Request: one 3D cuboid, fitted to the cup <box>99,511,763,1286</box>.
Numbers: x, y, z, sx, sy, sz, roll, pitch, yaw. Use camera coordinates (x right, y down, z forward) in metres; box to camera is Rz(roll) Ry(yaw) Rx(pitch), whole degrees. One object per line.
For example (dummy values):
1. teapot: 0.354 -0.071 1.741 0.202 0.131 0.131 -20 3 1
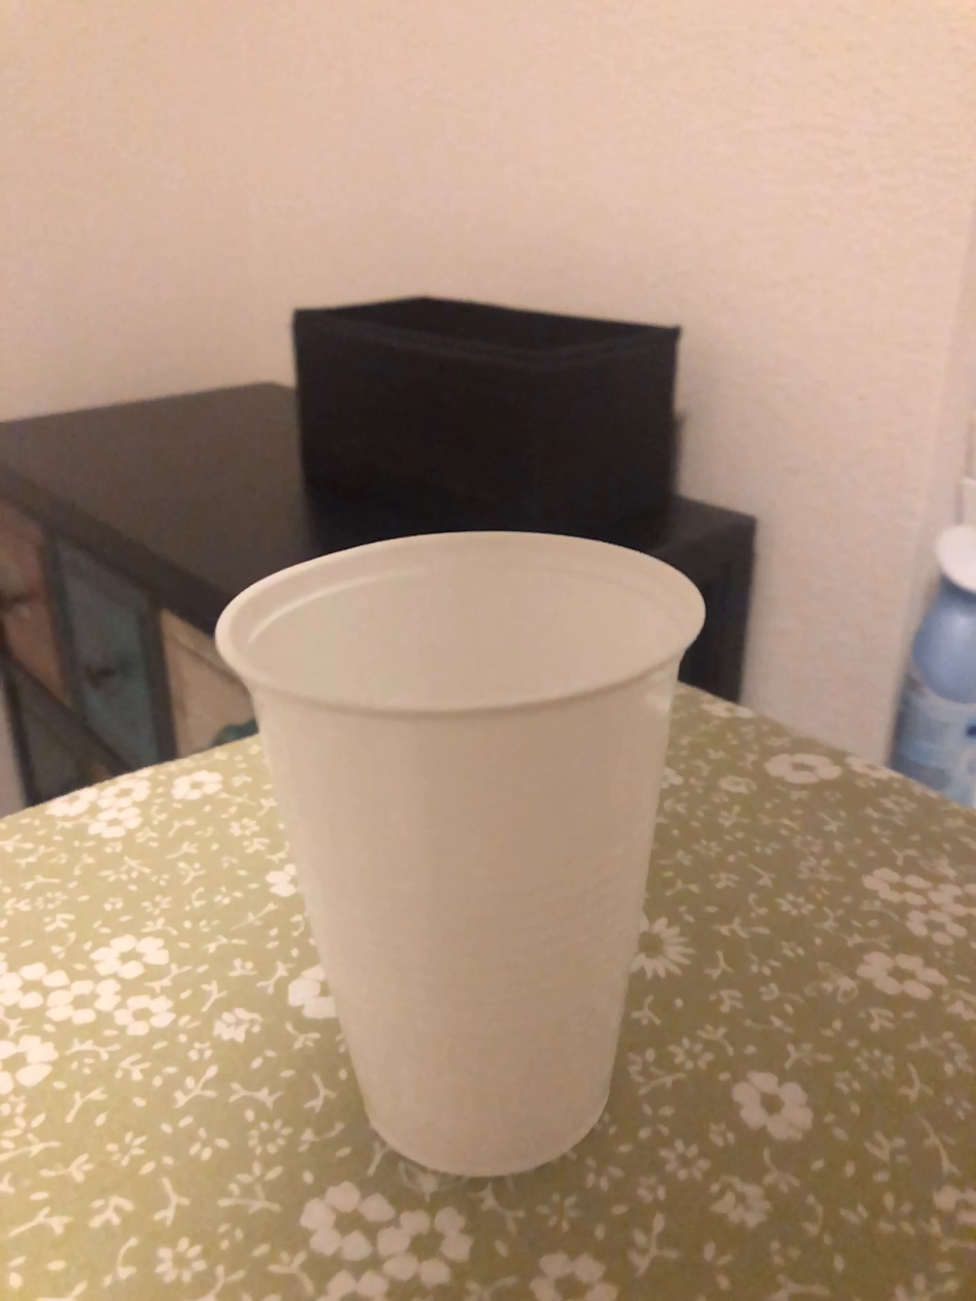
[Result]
1. cup: -0.004 0.032 0.194 0.078 0.090 0.078 -2 22 1
